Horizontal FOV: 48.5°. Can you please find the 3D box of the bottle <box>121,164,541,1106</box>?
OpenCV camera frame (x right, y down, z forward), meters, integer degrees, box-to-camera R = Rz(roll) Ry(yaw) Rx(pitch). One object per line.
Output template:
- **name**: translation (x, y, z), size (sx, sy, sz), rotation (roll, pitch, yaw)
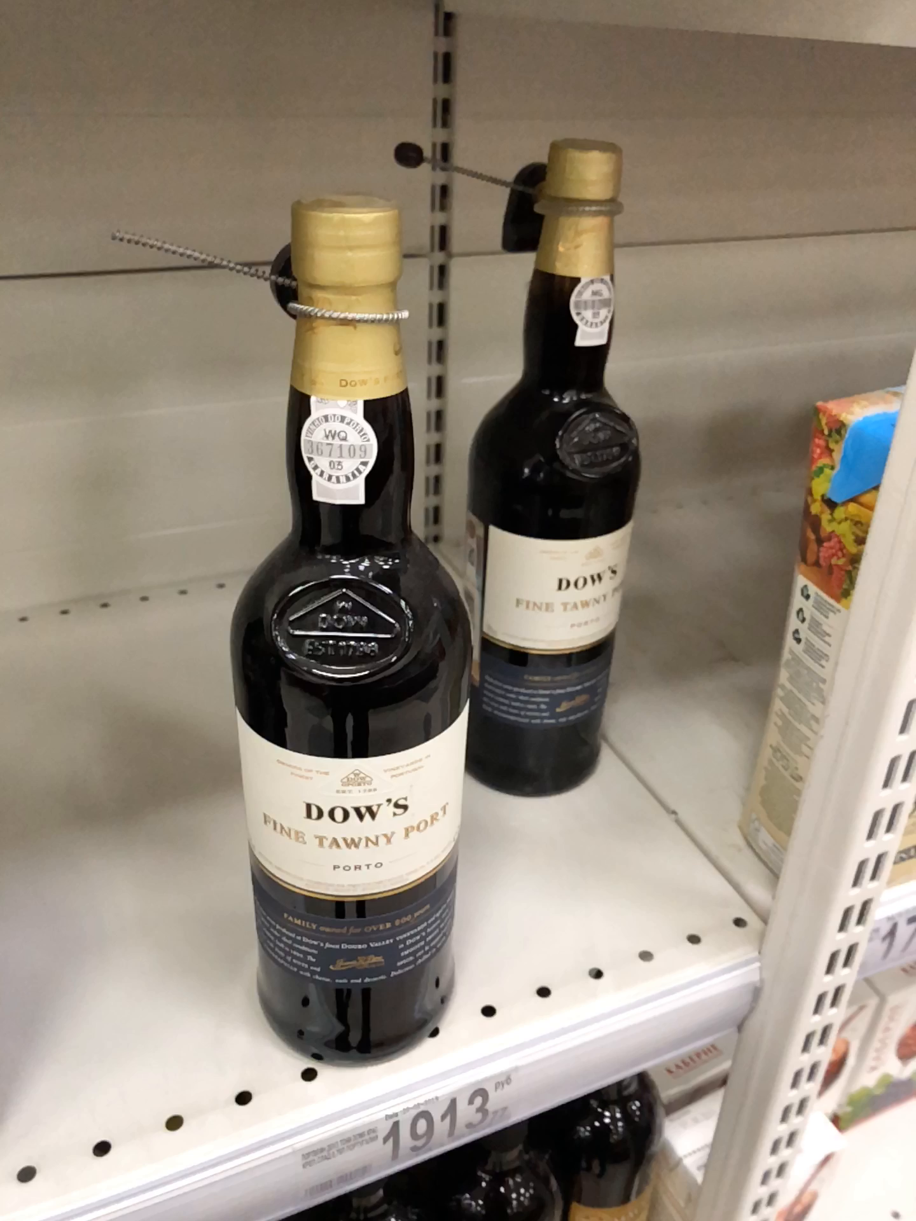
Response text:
- **bottle**: translation (-0.042, 0.018, 0.337), size (0.090, 0.296, 0.090), rotation (2, 30, -1)
